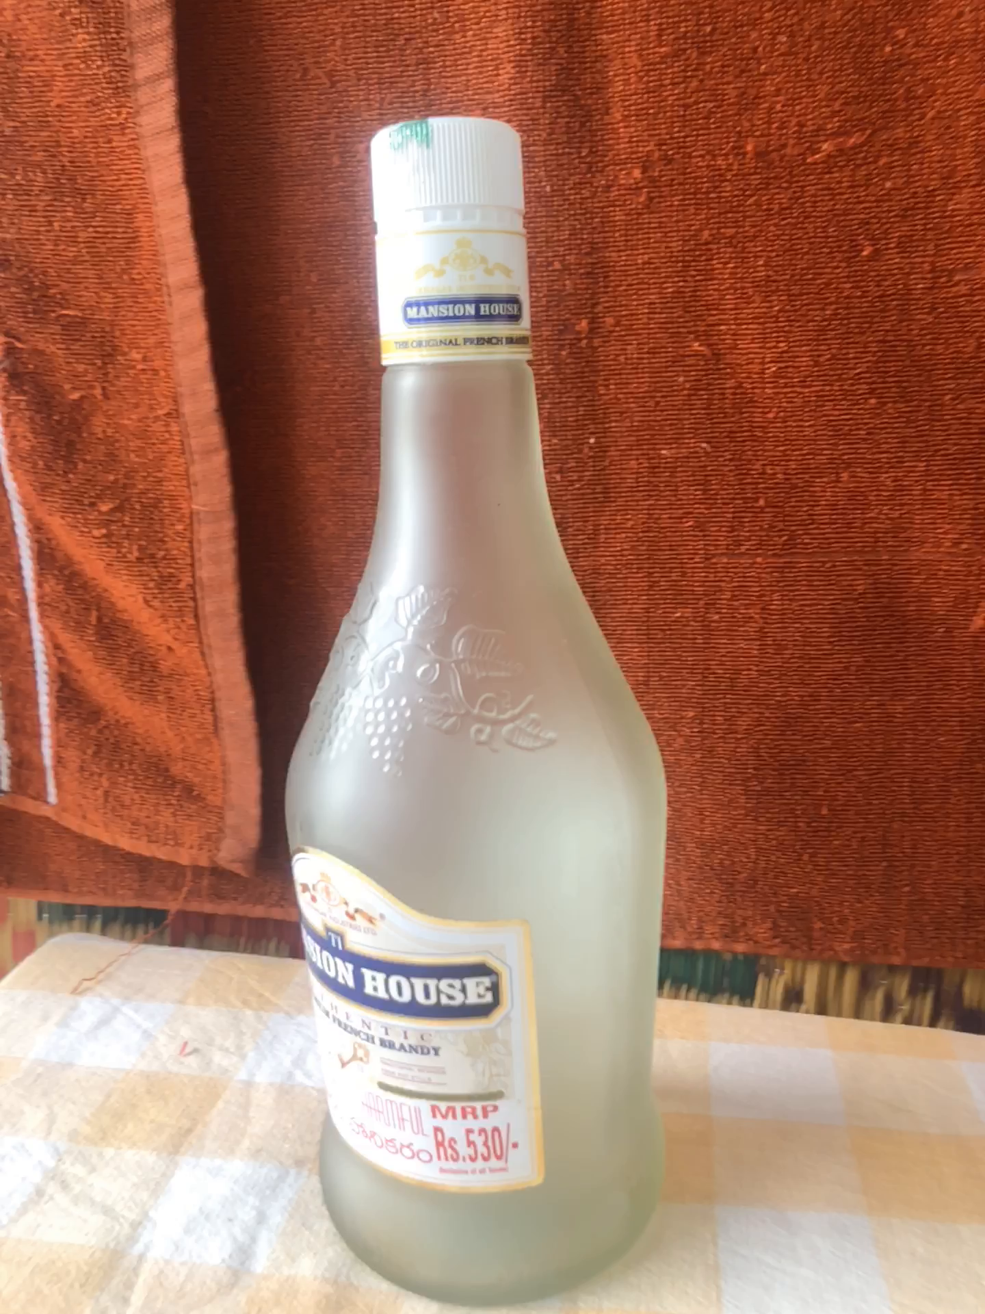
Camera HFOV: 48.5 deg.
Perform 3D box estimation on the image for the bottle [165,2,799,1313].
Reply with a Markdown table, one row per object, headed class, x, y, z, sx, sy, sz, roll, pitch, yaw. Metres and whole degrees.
| class | x | y | z | sx | sy | sz | roll | pitch | yaw |
| --- | --- | --- | --- | --- | --- | --- | --- | --- | --- |
| bottle | -0.001 | 0.009 | 0.251 | 0.090 | 0.249 | 0.090 | -1 | 15 | 0 |
